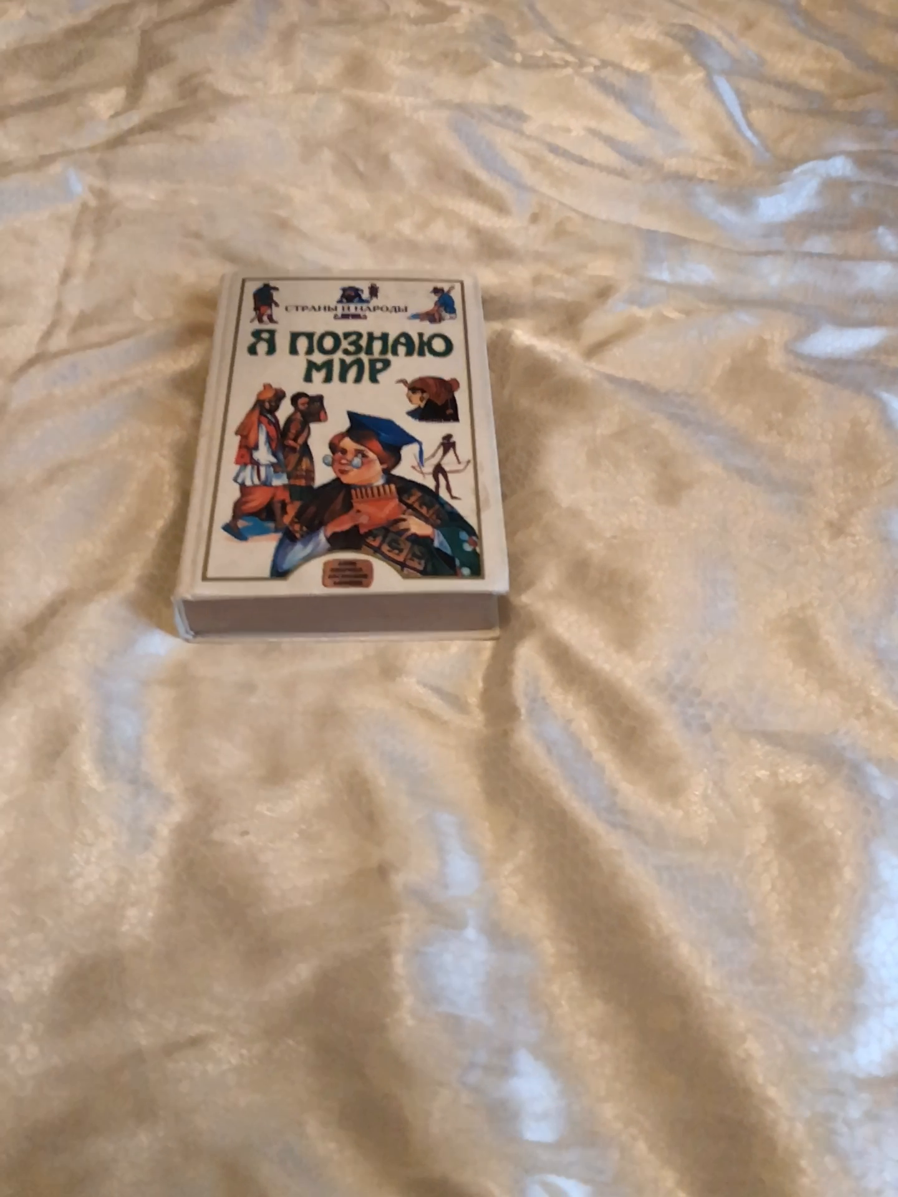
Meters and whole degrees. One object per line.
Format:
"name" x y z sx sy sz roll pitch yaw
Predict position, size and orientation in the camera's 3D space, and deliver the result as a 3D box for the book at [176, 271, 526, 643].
"book" -0.042 -0.073 0.452 0.134 0.037 0.198 0 54 -4
